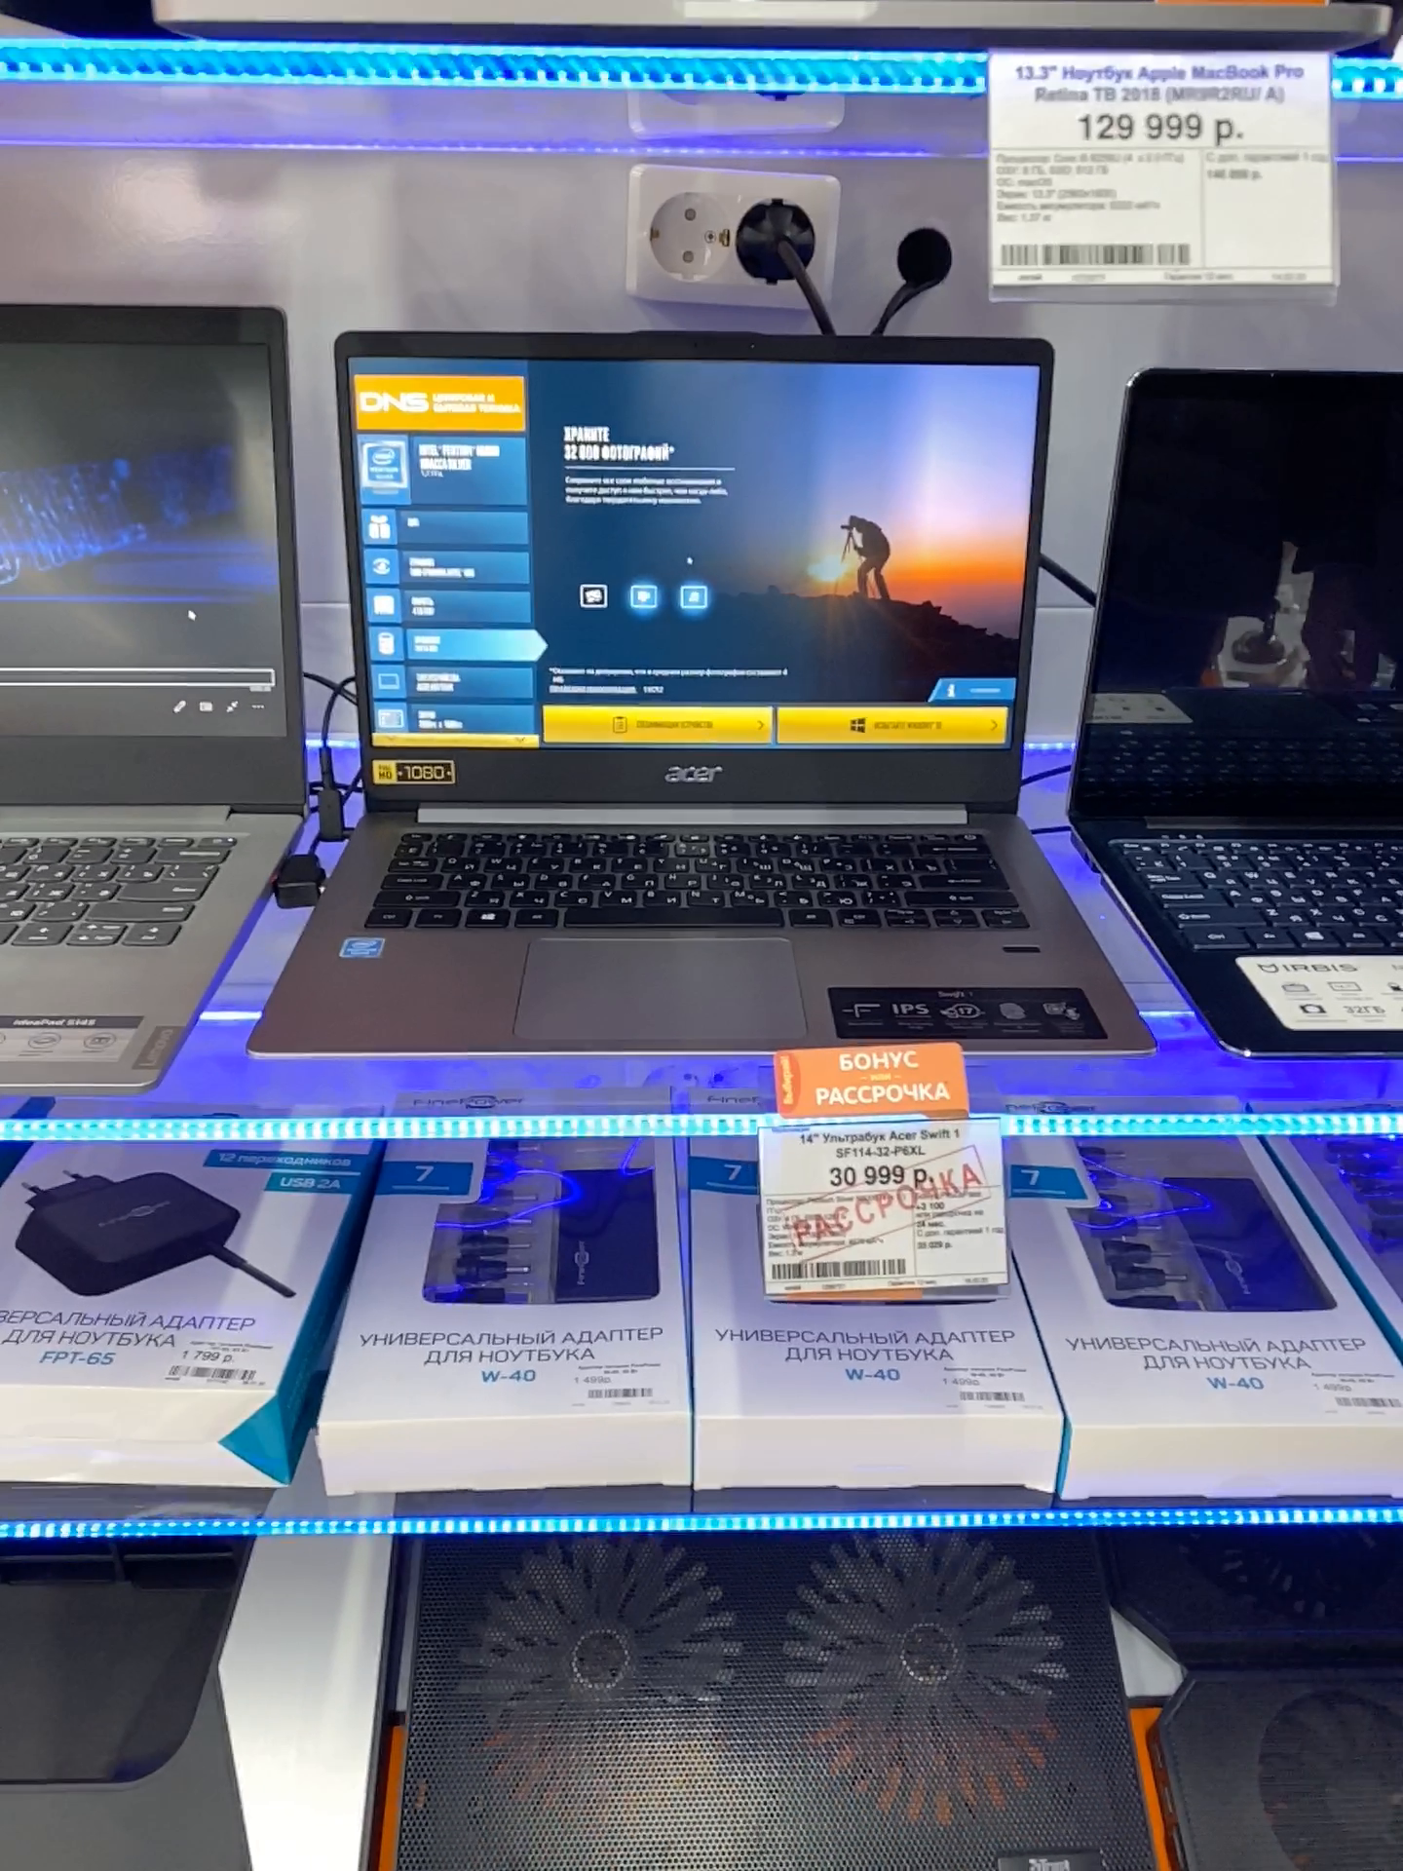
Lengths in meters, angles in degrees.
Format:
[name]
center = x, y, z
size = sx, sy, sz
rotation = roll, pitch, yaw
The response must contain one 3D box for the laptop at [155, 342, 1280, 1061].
[laptop]
center = 0.002, -0.110, 0.566
size = 0.318, 0.206, 0.258
rotation = 0, 27, -2
